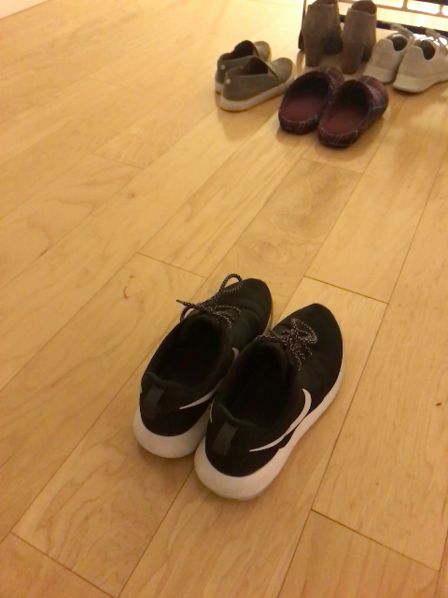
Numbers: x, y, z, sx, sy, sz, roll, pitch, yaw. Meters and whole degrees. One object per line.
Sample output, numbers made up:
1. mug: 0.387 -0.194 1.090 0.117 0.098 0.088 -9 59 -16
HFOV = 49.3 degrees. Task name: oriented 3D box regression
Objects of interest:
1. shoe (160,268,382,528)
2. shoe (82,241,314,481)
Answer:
1. shoe: 0.063 0.090 0.545 0.120 0.070 0.272 25 50 22
2. shoe: -0.016 0.053 0.576 0.130 0.070 0.272 25 50 22
